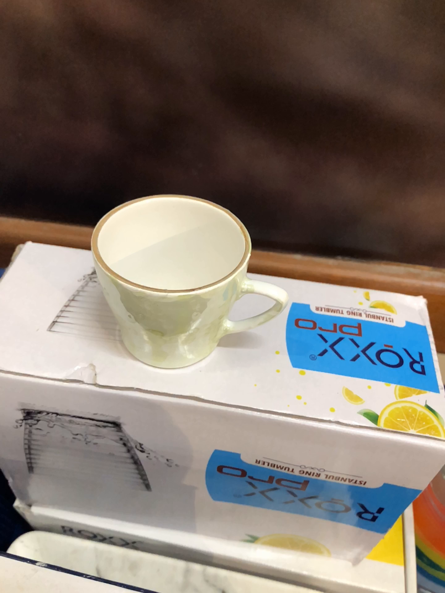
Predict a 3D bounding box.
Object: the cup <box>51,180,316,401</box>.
[{"bbox_3d":[-0.014,-0.004,0.232,0.100,0.060,0.070,7,46,1],"label":"cup"}]
